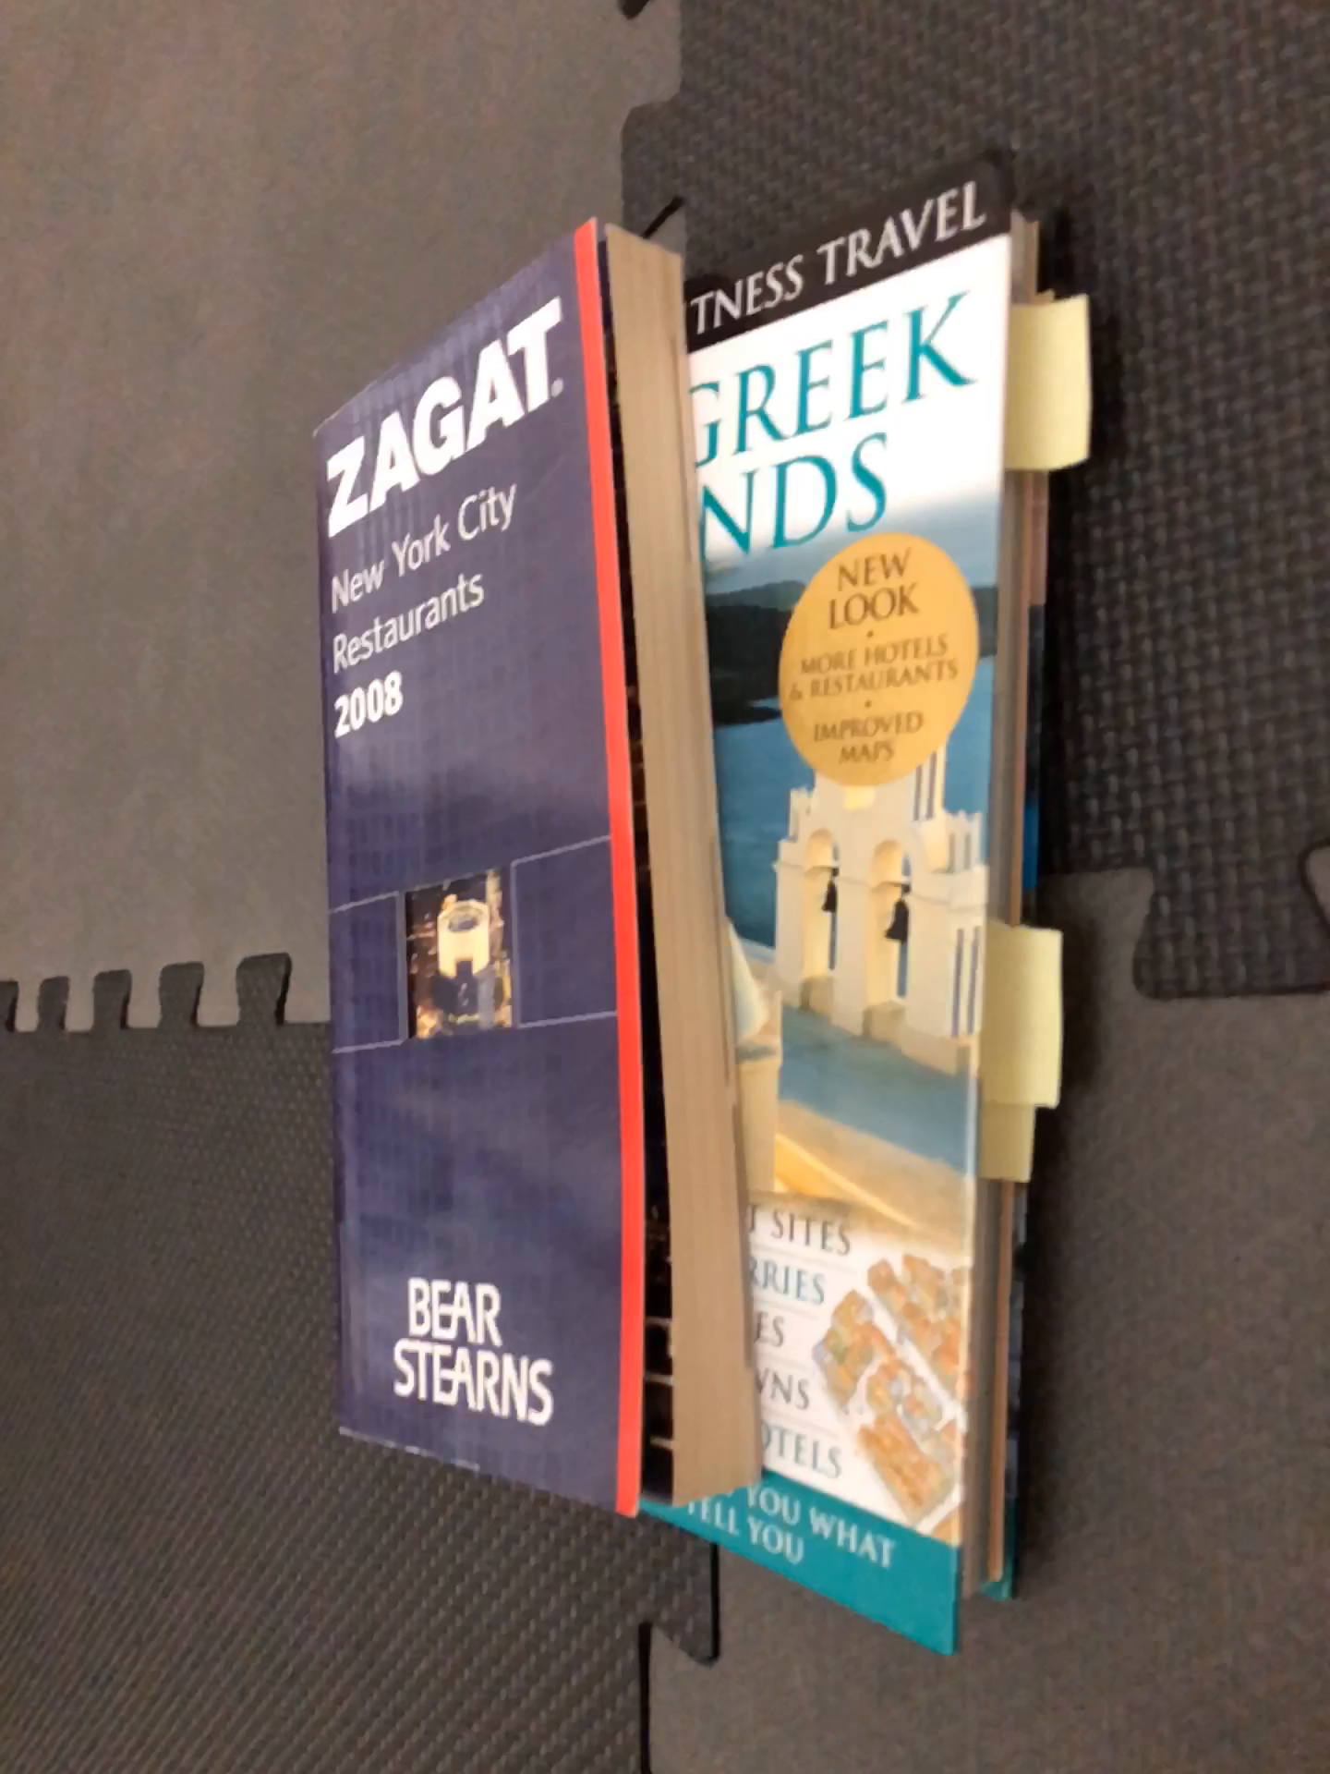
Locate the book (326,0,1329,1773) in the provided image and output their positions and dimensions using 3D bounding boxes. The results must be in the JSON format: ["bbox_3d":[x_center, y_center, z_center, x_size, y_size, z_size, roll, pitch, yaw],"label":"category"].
[{"bbox_3d":[0.010,-0.021,0.245,0.171,0.030,0.260,6,91,48],"label":"book"}]

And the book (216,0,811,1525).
[{"bbox_3d":[-0.039,-0.032,0.273,0.151,0.020,0.250,-7,81,48],"label":"book"}]
